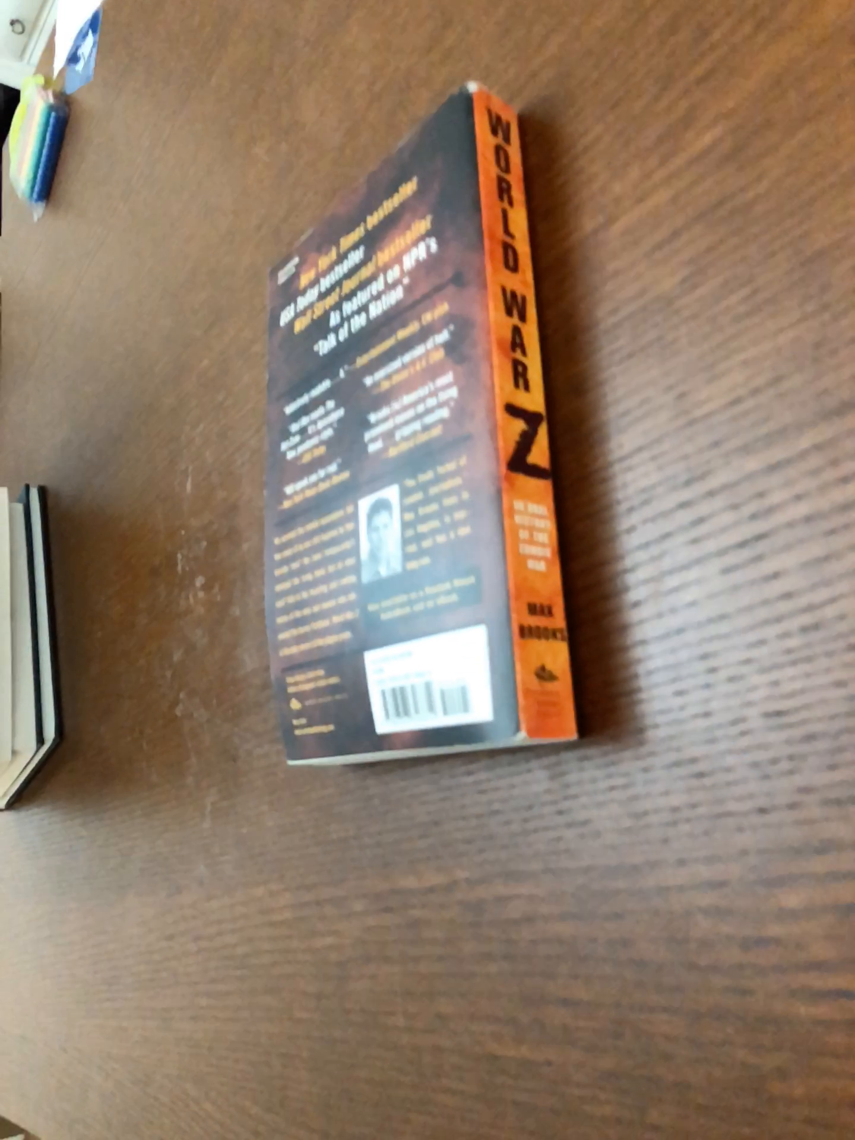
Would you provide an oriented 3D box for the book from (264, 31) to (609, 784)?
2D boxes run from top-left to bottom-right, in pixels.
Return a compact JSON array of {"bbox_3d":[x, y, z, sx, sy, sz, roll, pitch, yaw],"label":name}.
[{"bbox_3d":[-0.009,-0.040,0.323,0.141,0.030,0.220,-18,71,51],"label":"book"}]
